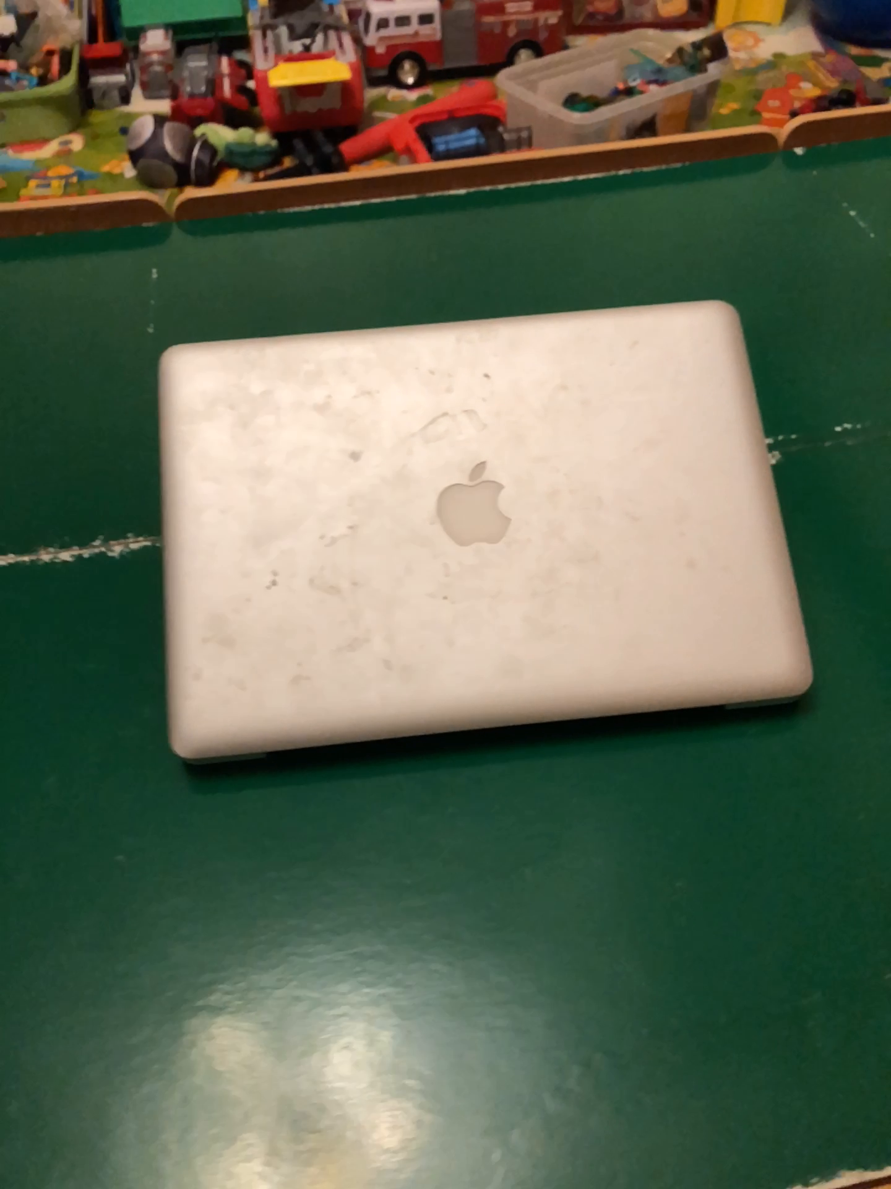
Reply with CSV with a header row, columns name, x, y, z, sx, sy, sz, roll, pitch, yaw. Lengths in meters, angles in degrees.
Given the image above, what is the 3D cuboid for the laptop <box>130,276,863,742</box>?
name,x,y,z,sx,sy,sz,roll,pitch,yaw
laptop,0.013,-0.053,0.523,0.314,0.098,0.211,-6,50,-1
